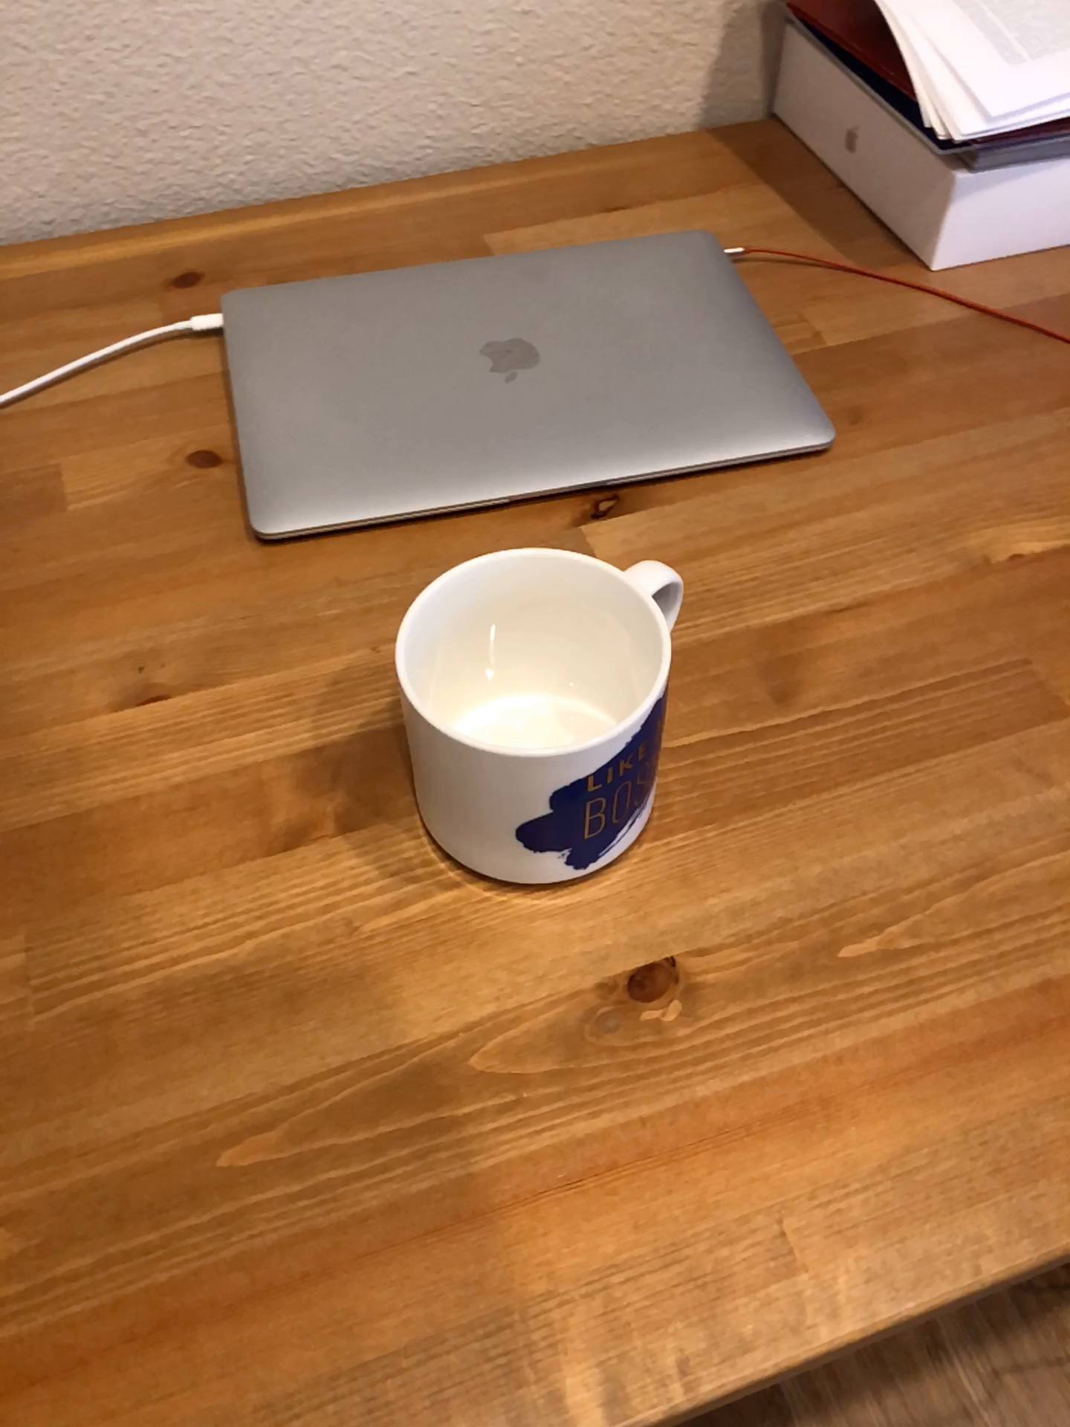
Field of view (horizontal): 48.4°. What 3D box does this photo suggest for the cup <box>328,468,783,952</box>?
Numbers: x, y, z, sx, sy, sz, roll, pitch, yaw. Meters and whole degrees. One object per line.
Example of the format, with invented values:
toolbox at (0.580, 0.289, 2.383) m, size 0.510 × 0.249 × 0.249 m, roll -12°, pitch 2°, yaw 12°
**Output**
cup at (0.010, -0.005, 0.451) m, size 0.100 × 0.090 × 0.130 m, roll 31°, pitch 57°, yaw 24°
